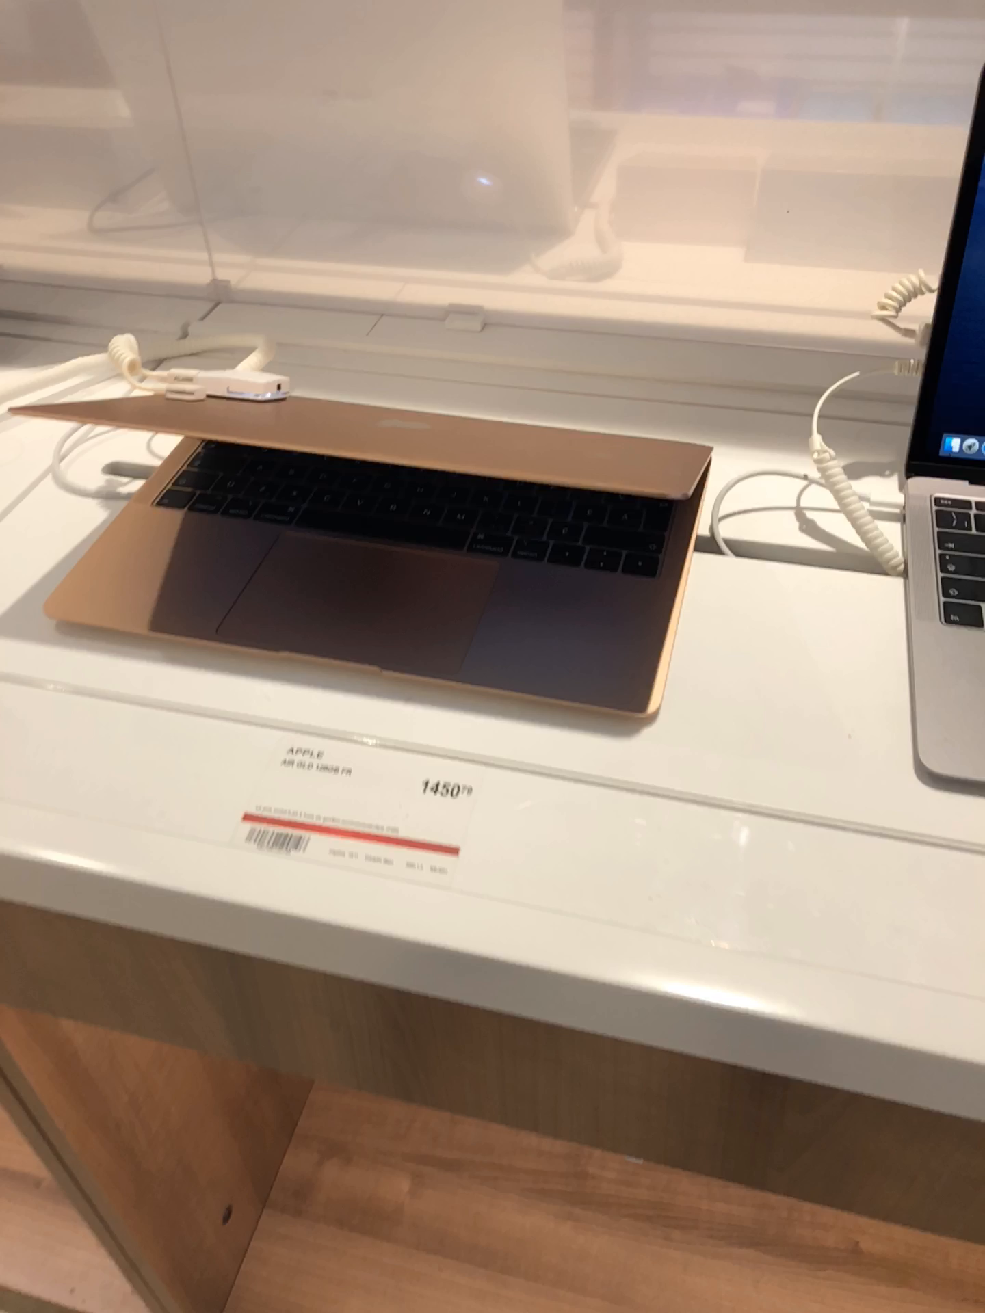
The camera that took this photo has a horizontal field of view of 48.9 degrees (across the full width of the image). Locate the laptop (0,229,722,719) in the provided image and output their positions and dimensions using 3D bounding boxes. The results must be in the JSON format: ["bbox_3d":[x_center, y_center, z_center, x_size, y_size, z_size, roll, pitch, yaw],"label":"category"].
[{"bbox_3d":[-0.048,-0.112,0.543,0.298,0.104,0.226,9,42,15],"label":"laptop"}]
